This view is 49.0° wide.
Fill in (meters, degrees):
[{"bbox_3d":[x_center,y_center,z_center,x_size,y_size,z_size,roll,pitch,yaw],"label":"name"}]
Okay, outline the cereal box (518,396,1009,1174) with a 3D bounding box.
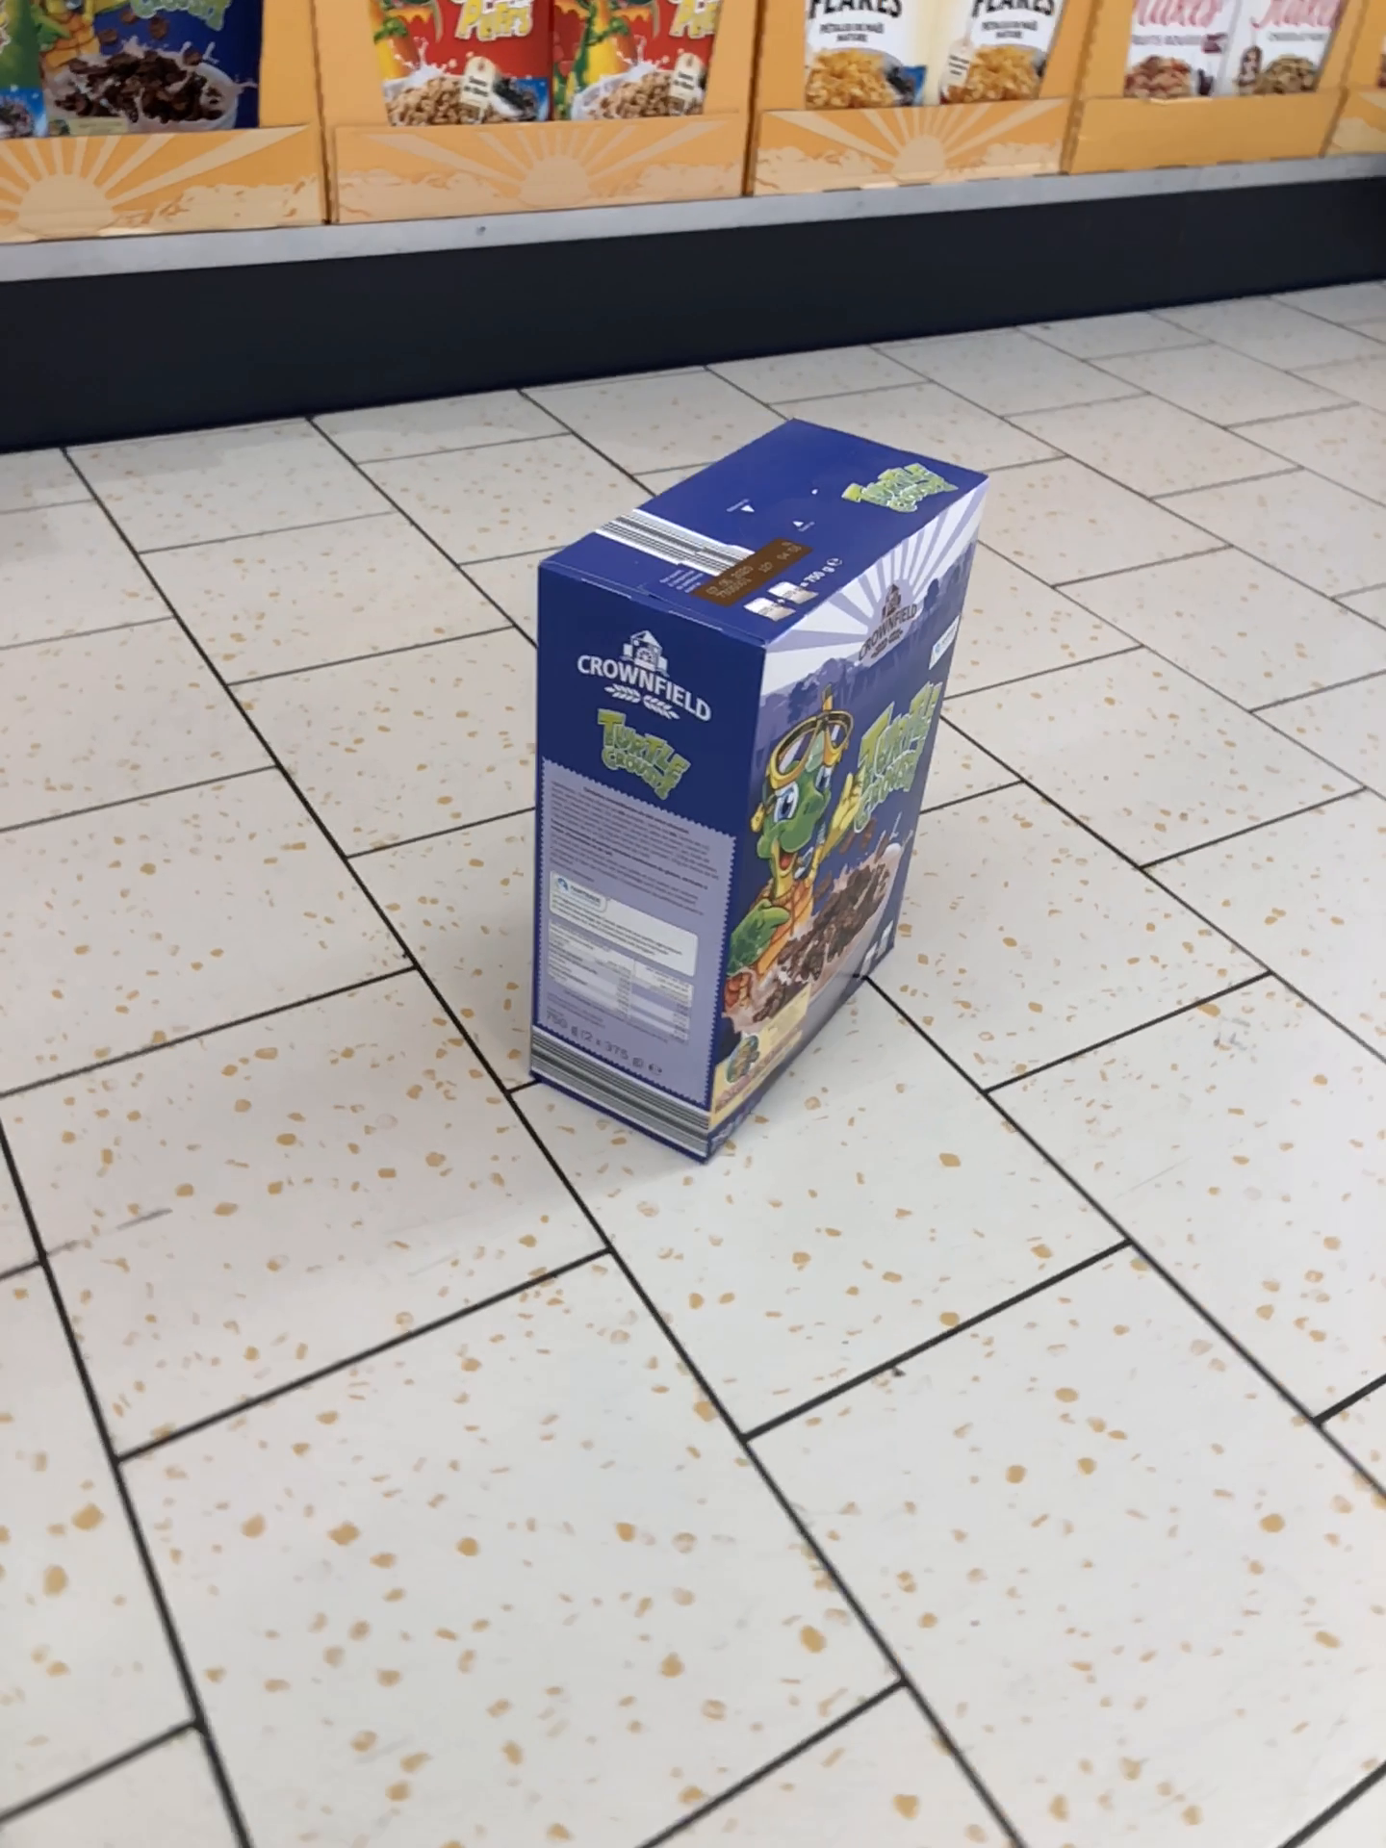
[{"bbox_3d":[0.026,-0.063,0.660,0.100,0.258,0.201,24,41,22],"label":"cereal box"}]
